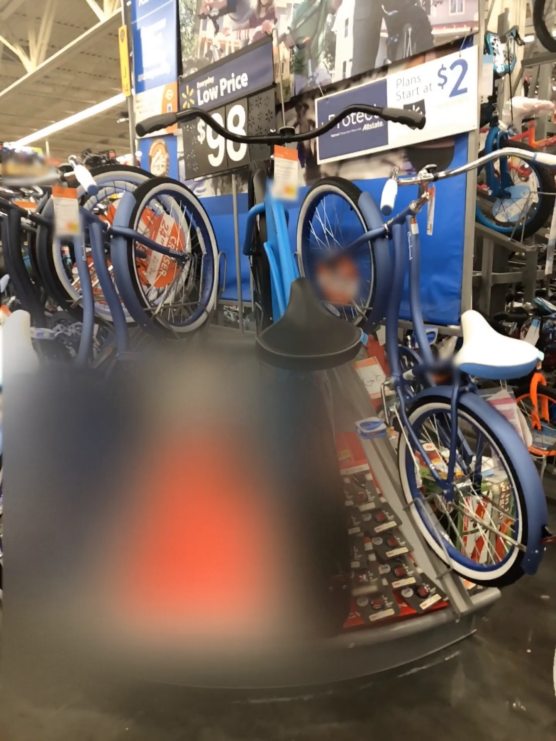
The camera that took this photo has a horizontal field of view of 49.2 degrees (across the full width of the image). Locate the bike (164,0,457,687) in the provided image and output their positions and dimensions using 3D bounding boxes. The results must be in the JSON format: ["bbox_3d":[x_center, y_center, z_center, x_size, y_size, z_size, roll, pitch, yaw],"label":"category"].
[{"bbox_3d":[-0.019,-0.562,1.737,0.505,1.120,1.568,-2,38,-10],"label":"bike"}]
